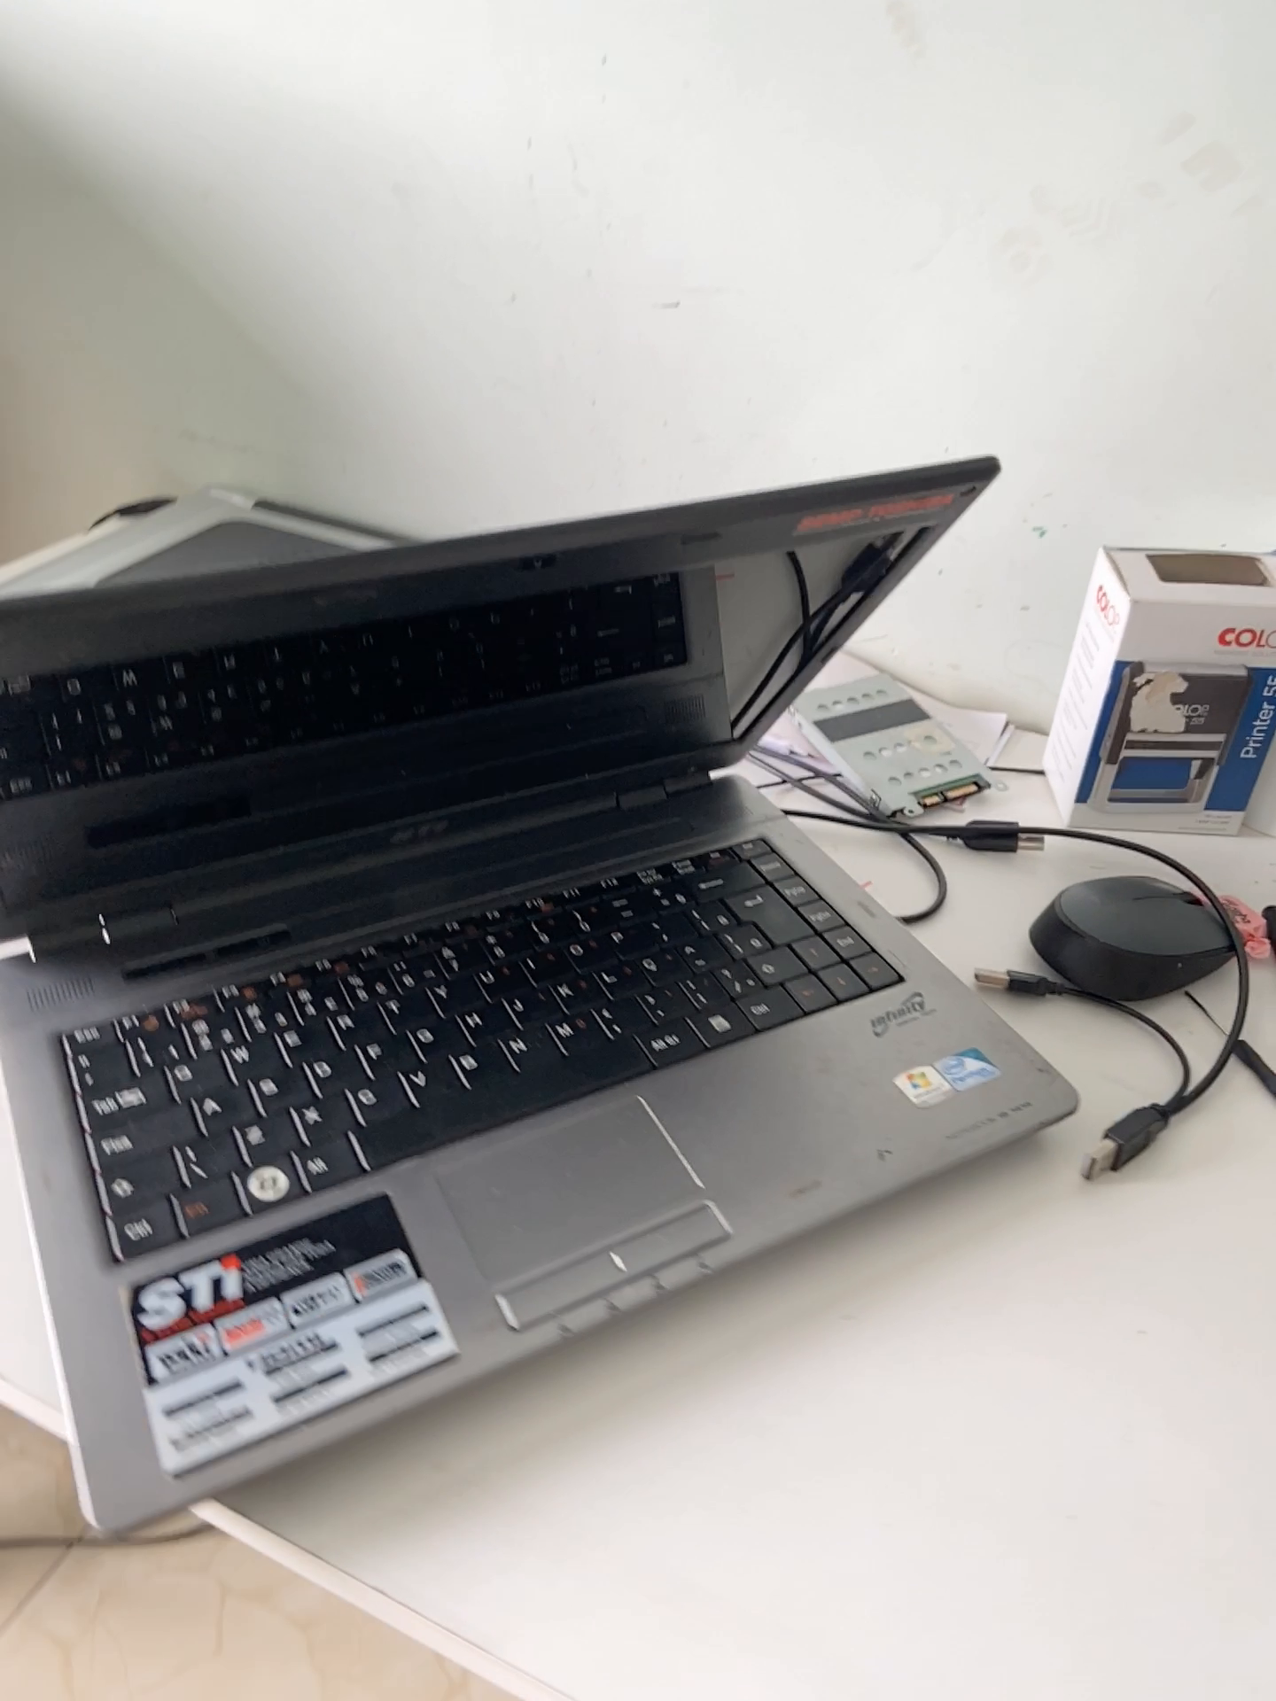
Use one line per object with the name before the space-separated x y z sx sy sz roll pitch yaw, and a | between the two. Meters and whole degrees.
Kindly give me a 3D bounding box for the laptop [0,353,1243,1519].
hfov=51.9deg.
laptop | -0.040 -0.015 0.438 0.342 0.200 0.242 -15 40 -24
